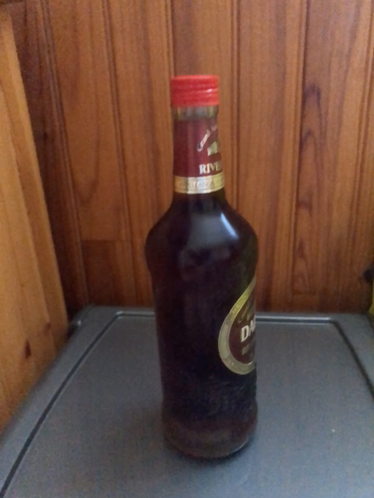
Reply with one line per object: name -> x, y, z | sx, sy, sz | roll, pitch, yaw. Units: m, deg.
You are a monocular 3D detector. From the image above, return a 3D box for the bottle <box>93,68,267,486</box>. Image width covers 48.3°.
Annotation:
bottle -> 0.009, 0.026, 0.321 | 0.090, 0.299, 0.091 | -3, 22, 1
